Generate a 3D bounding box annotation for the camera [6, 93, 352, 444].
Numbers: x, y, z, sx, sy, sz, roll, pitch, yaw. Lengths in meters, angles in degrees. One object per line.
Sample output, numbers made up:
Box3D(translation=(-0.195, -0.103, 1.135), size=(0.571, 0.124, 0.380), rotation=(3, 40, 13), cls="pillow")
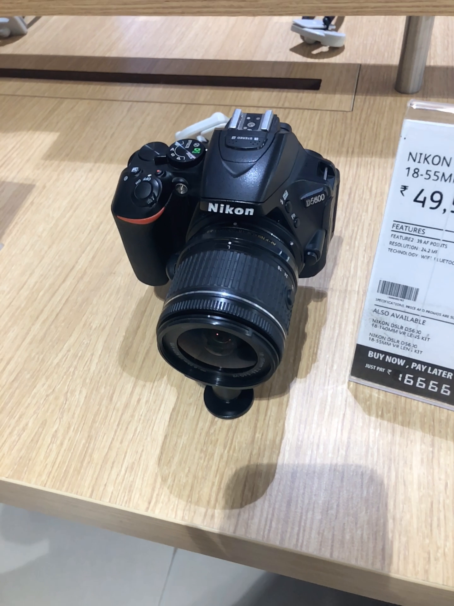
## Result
Box3D(translation=(-0.007, -0.028, 0.285), size=(0.130, 0.099, 0.161), rotation=(7, 51, 12), cls="camera")
